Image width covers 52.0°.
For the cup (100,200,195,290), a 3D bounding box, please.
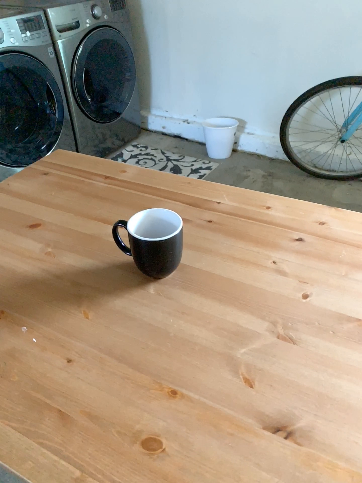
[{"bbox_3d":[-0.055,0.004,0.688,0.140,0.109,0.100,8,40,14],"label":"cup"}]
